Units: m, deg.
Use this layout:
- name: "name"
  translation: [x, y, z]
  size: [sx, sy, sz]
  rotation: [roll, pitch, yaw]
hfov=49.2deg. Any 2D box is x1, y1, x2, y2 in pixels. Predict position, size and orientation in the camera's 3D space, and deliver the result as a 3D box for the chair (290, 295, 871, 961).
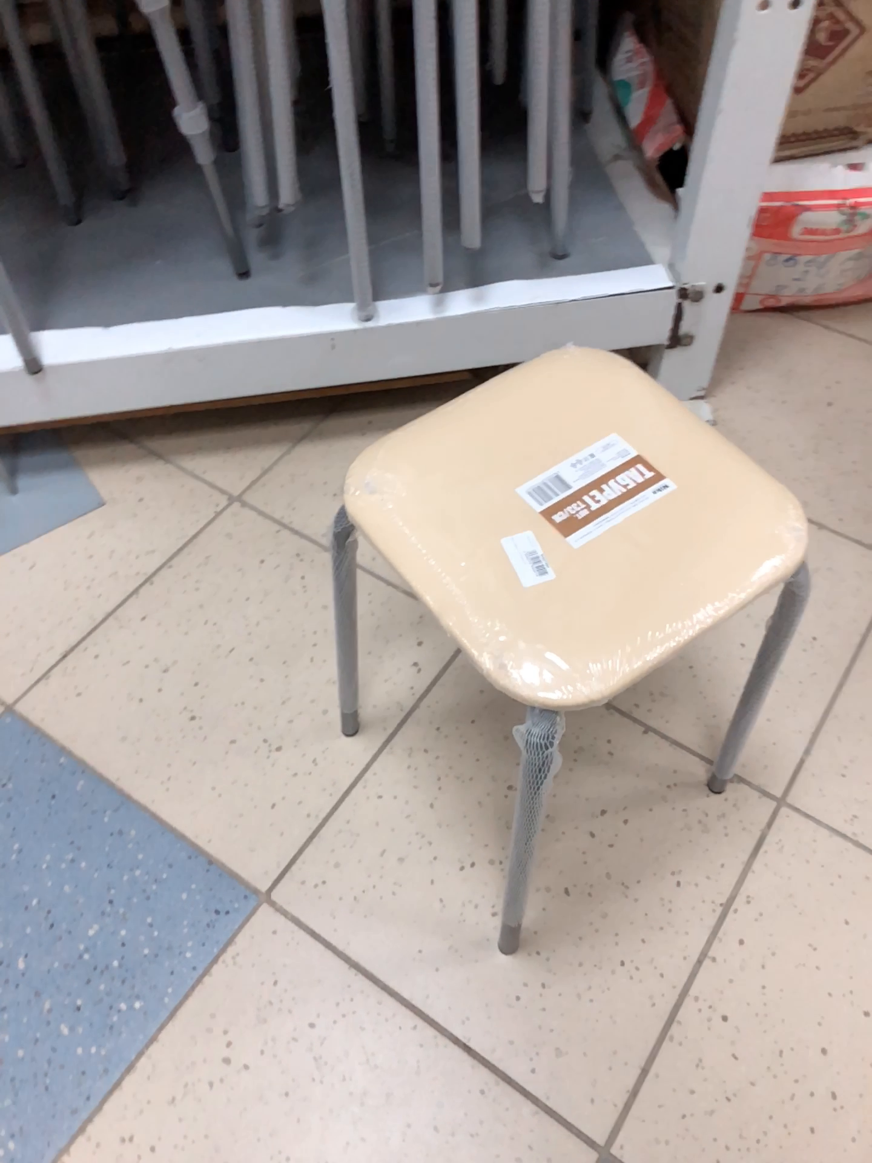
- name: "chair"
  translation: [0.119, 0.057, 0.886]
  size: [0.341, 0.437, 0.311]
  rotation: [-29, 57, -19]
